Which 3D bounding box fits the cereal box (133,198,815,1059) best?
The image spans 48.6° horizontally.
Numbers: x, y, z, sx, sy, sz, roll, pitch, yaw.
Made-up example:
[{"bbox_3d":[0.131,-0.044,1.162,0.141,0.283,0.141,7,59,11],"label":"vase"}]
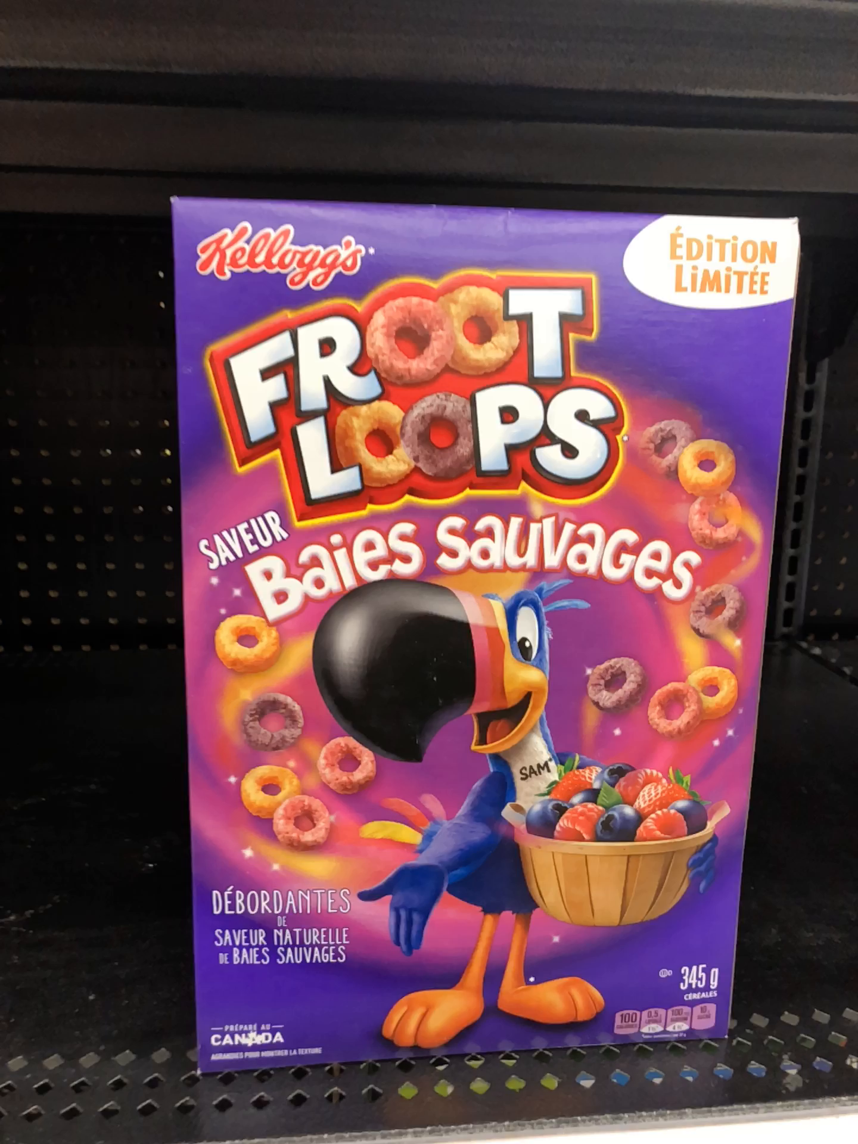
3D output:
[{"bbox_3d":[0.013,0.025,0.342,0.210,0.289,0.050,0,11,-5],"label":"cereal box"}]
